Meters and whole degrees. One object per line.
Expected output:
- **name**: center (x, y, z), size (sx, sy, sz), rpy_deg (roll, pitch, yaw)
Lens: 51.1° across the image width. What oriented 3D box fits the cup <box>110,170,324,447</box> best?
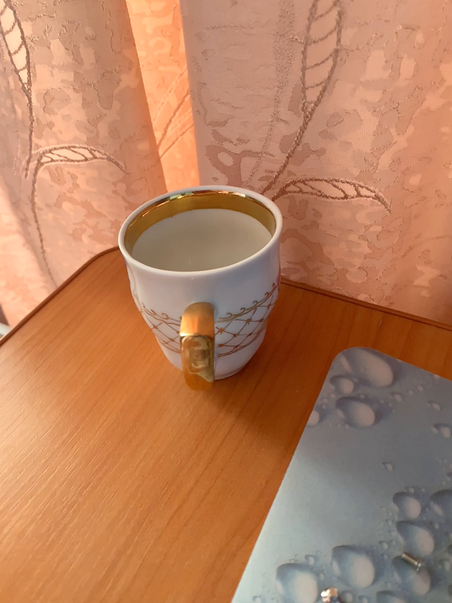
- **cup**: center (-0.007, -0.002, 0.178), size (0.059, 0.055, 0.083), rpy_deg (-8, 42, -5)
